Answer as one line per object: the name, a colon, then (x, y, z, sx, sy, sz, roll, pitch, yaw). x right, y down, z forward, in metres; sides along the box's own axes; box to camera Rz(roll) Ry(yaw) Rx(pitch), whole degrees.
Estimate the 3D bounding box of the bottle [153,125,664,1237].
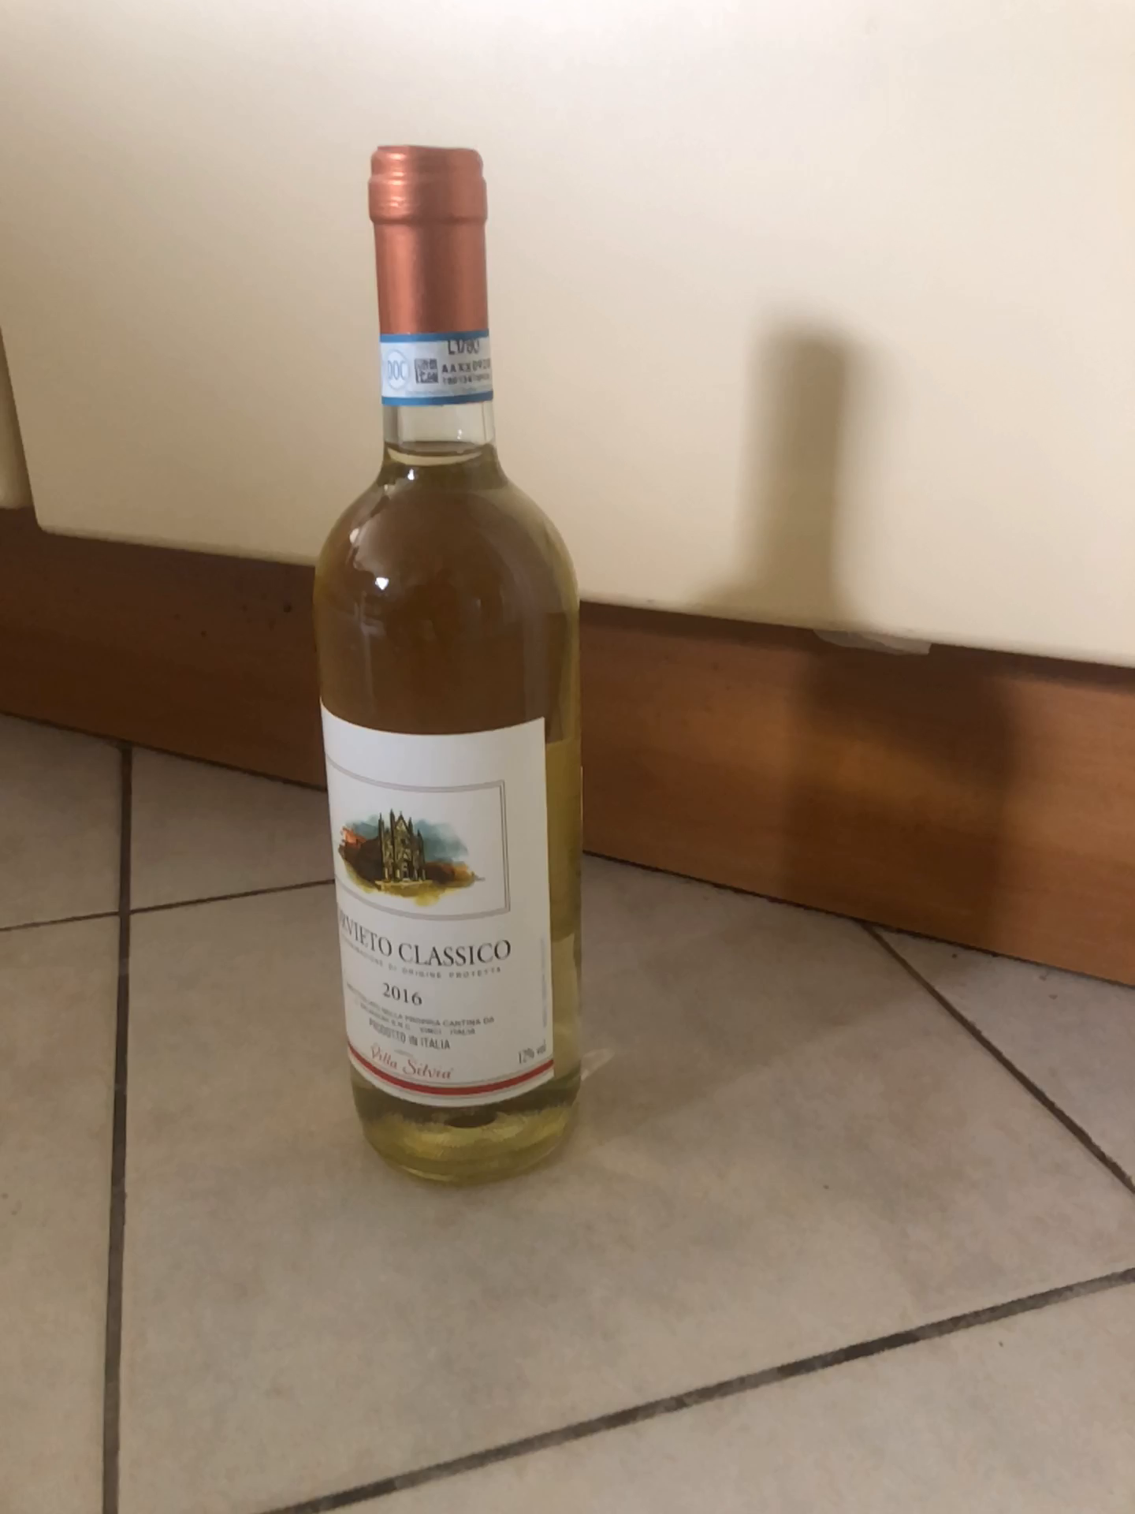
bottle: (-0.035, -0.018, 0.362, 0.090, 0.288, 0.091, 0, 23, 0)
